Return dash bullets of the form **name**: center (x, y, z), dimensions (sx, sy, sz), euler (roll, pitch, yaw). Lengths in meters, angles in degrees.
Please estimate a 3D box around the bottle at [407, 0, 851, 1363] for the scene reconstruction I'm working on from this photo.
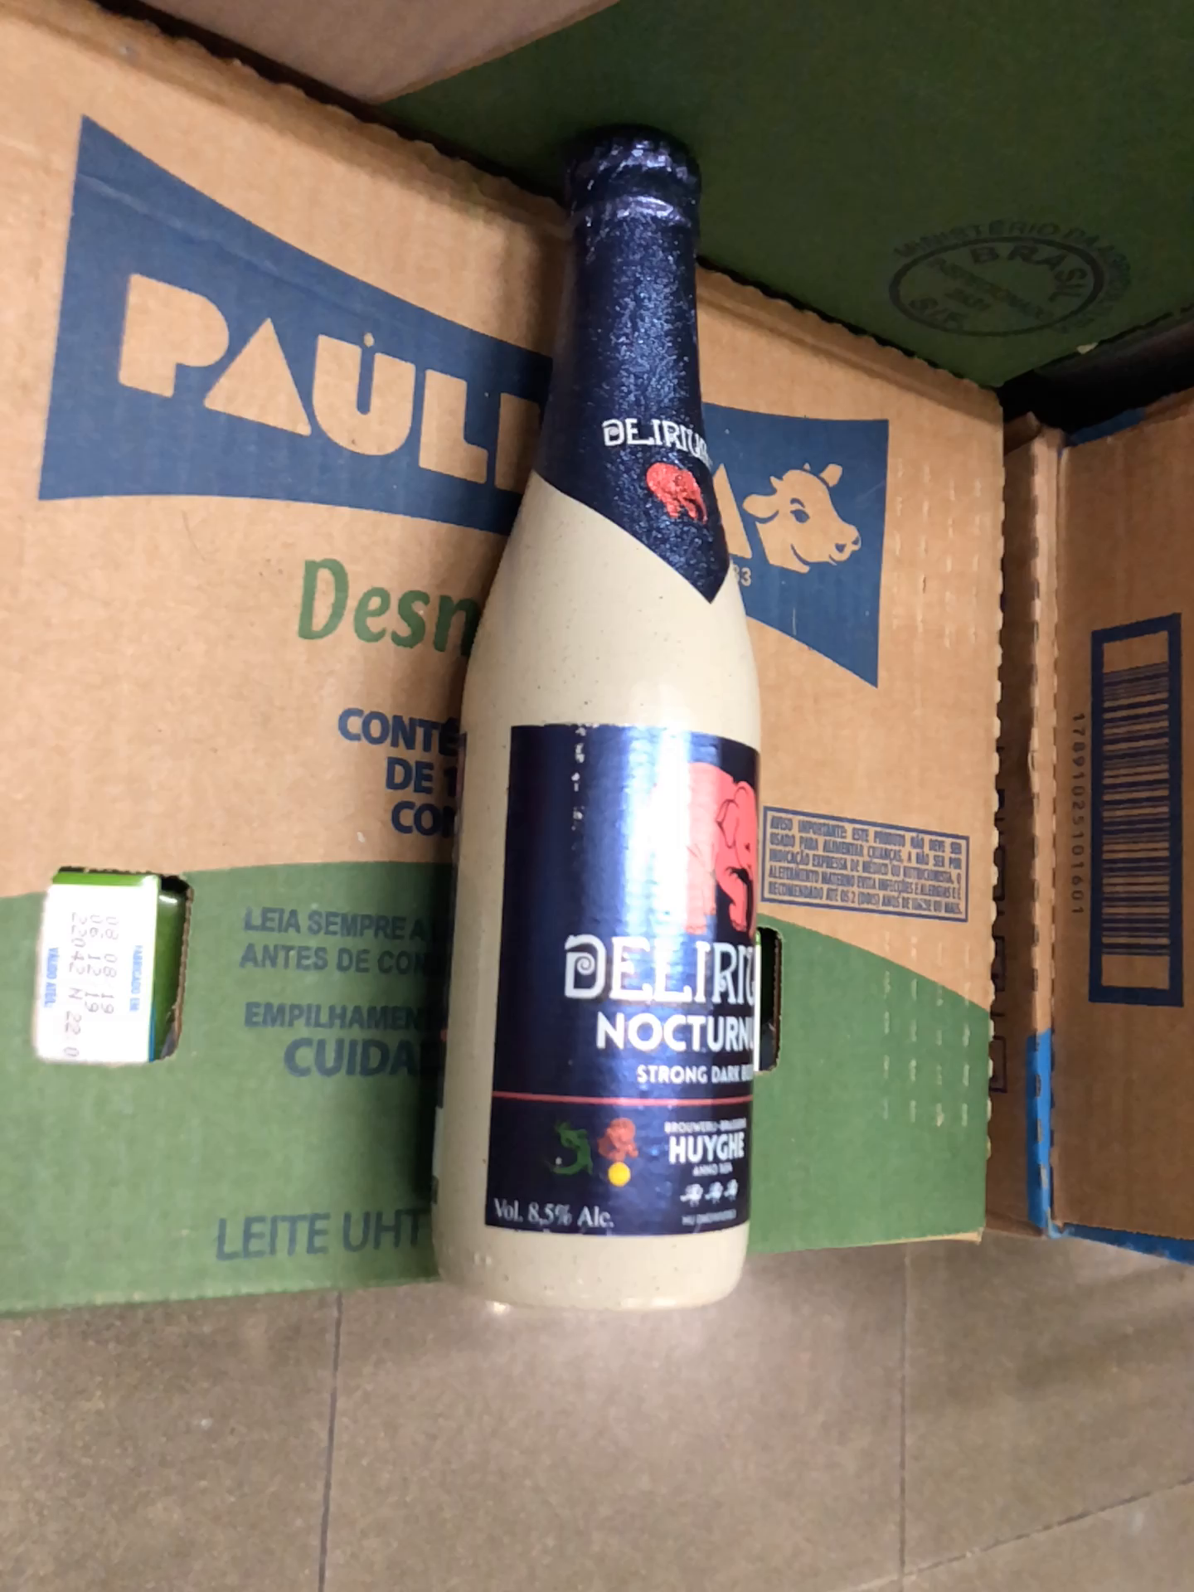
- **bottle**: center (0.009, -0.033, 0.253), dimensions (0.060, 0.050, 0.250), euler (8, 79, -34)
